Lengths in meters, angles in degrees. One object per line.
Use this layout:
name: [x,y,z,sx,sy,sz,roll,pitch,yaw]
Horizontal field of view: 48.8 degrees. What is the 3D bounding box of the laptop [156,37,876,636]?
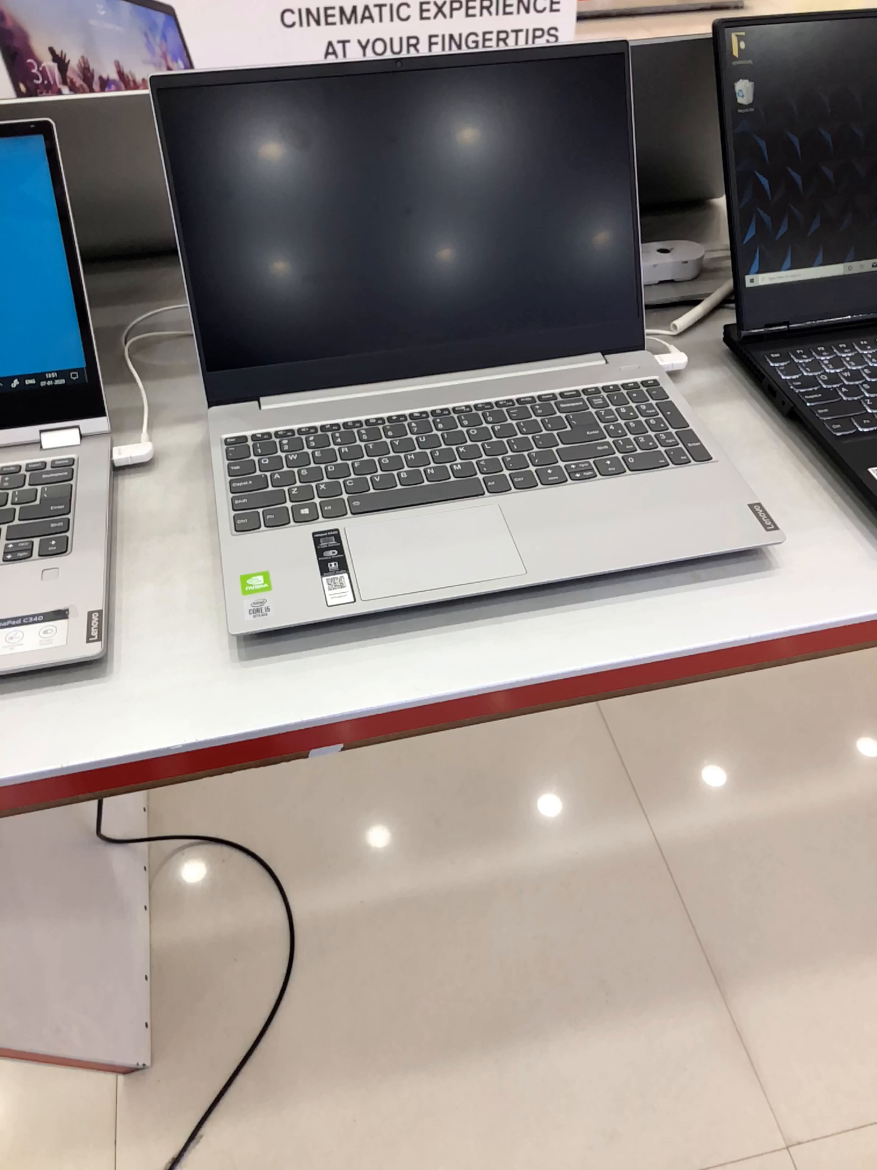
laptop: [0.011,-0.189,0.633,0.342,0.196,0.346,-10,44,-9]
